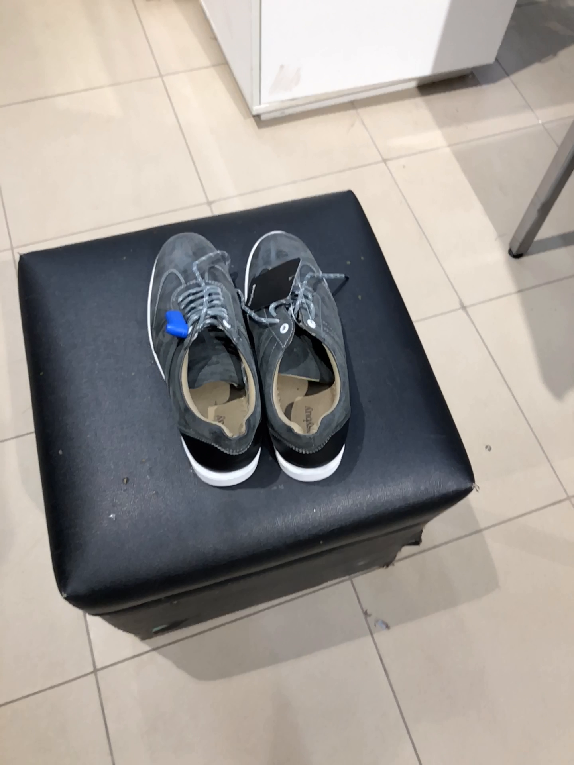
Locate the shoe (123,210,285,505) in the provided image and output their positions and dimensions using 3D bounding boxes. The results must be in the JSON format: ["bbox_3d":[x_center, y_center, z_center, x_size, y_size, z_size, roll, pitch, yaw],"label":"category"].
[{"bbox_3d":[-0.082,-0.027,0.610,0.100,0.107,0.249,-11,65,-8],"label":"shoe"}]

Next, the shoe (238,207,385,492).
[{"bbox_3d":[0.014,-0.034,0.615,0.100,0.107,0.249,-5,64,-5],"label":"shoe"}]
